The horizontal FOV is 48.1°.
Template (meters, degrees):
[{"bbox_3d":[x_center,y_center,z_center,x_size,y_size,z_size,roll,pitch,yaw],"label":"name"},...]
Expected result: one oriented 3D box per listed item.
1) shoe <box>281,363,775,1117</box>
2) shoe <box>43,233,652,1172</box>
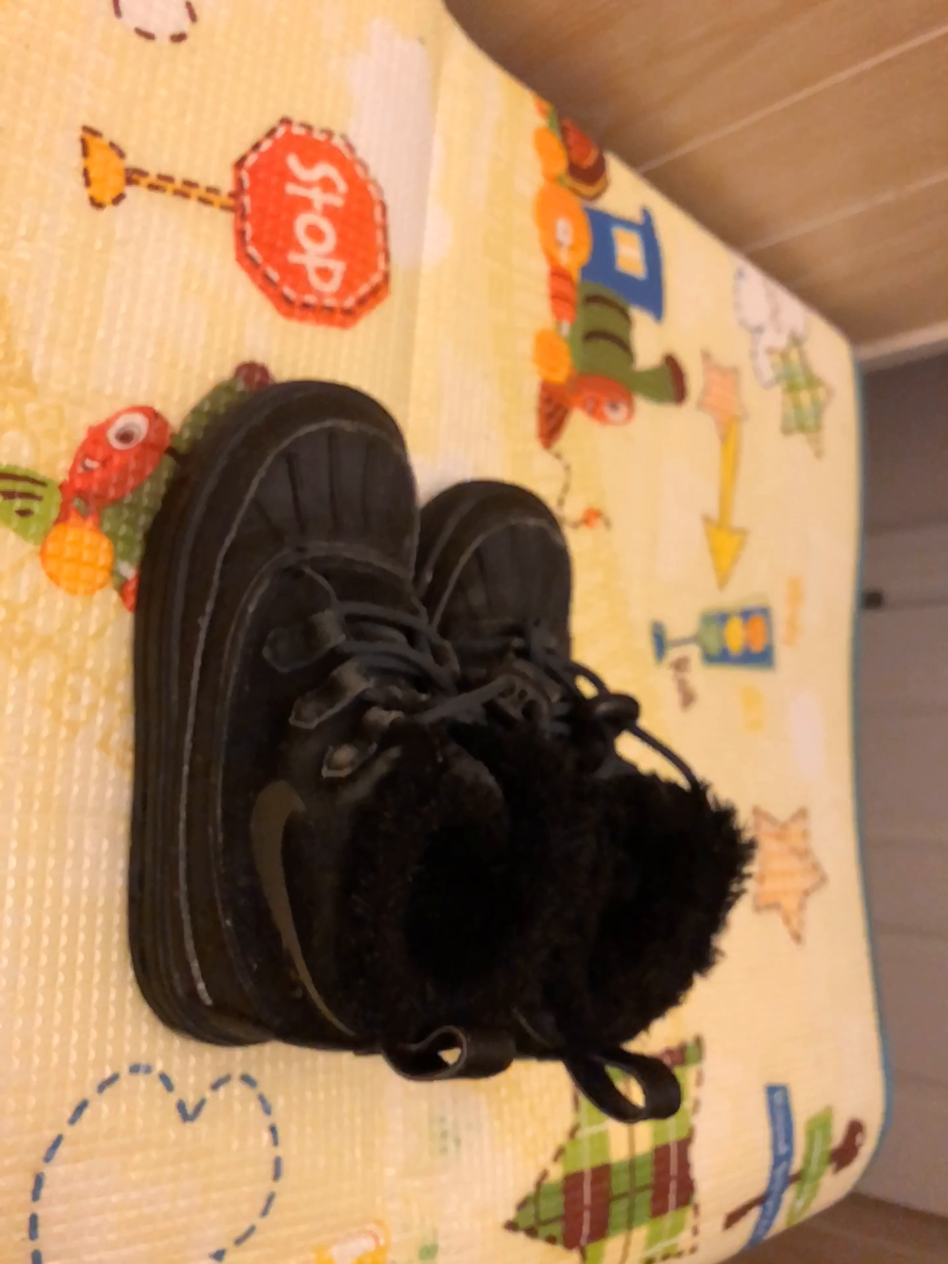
[{"bbox_3d":[0.024,0.038,0.372,0.090,0.109,0.220,24,69,-41],"label":"shoe"},{"bbox_3d":[-0.033,0.020,0.306,0.090,0.119,0.210,19,72,-42],"label":"shoe"}]
